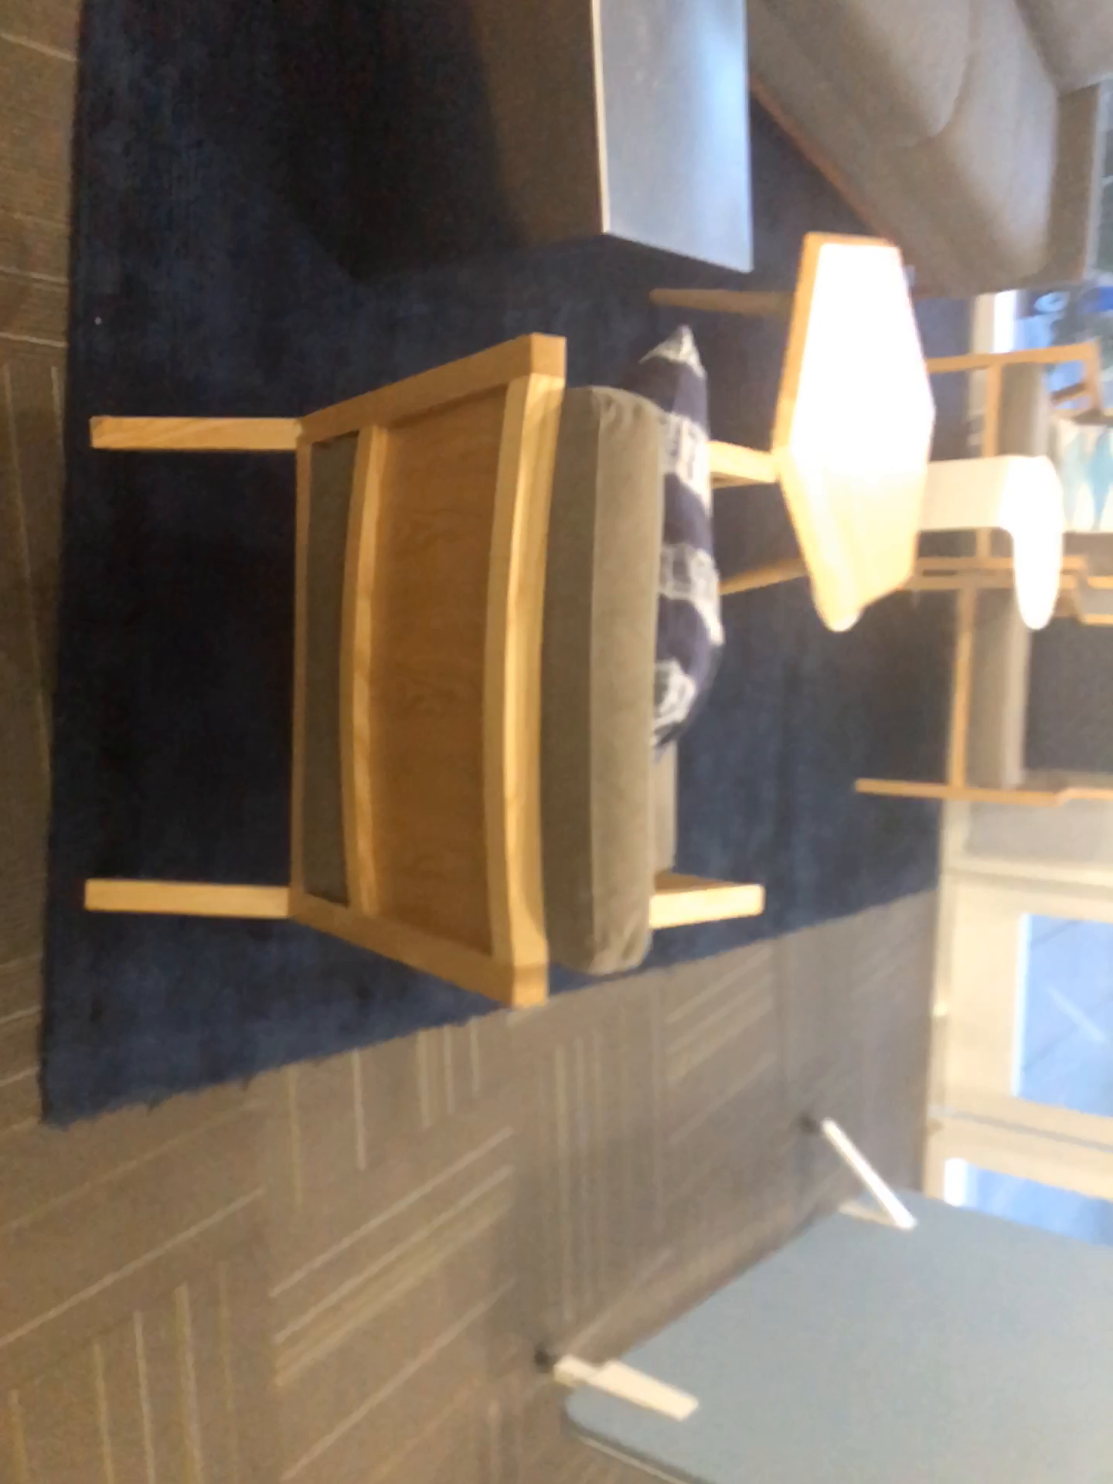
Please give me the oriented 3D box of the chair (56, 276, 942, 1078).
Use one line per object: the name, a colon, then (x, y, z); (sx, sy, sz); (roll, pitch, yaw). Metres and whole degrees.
chair: (-0.027, -0.069, 1.568); (0.837, 0.774, 0.670); (1, 92, -56)
